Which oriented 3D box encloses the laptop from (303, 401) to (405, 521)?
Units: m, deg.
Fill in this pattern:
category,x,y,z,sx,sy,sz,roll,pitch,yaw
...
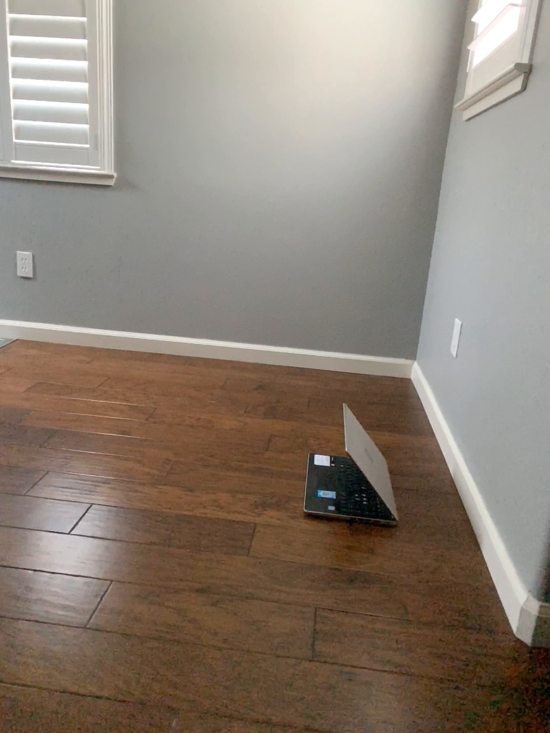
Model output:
category,x,y,z,sx,sy,sz,roll,pitch,yaw
laptop,0.198,0.232,1.468,0.219,0.169,0.318,5,16,4
